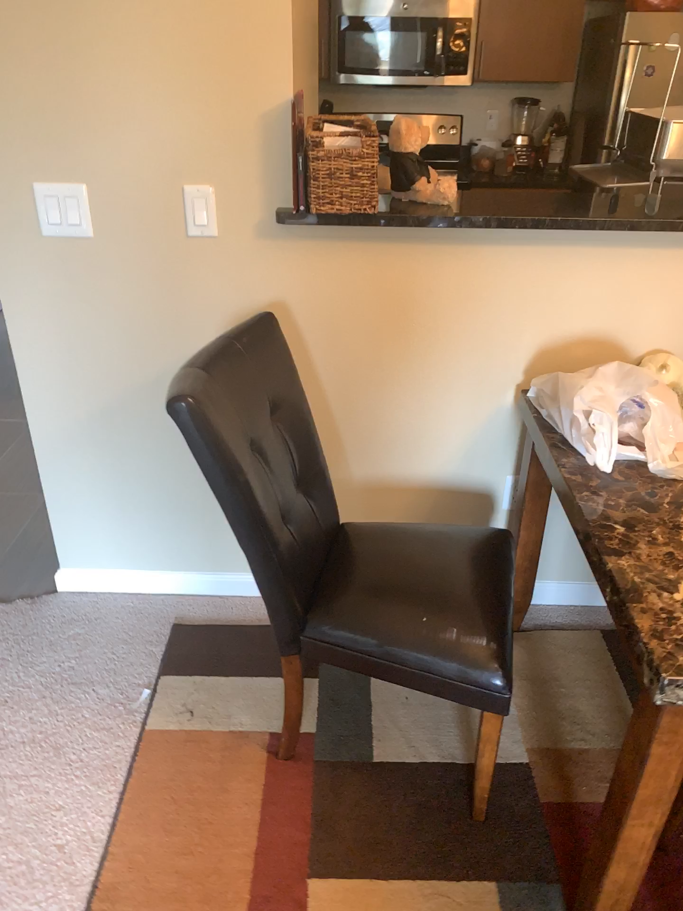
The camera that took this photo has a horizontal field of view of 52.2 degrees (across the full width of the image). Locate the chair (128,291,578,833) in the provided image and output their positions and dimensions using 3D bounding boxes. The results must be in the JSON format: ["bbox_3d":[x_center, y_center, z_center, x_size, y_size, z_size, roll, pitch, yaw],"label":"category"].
[{"bbox_3d":[0.058,0.193,1.696,0.730,0.925,0.814,5,30,7],"label":"chair"}]
